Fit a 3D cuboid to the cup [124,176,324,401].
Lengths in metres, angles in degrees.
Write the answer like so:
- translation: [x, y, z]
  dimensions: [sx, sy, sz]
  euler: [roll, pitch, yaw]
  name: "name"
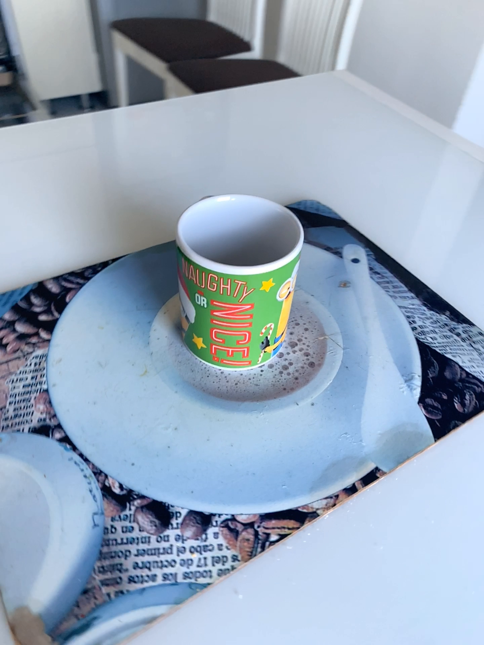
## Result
- translation: [-0.020, -0.031, 0.359]
  dimensions: [0.094, 0.077, 0.134]
  euler: [-13, 48, -17]
  name: "cup"
